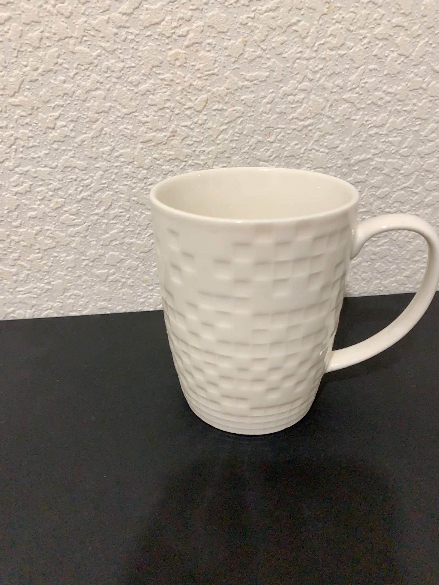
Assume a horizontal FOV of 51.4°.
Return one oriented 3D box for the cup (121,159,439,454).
[{"bbox_3d":[0.029,0.003,0.206,0.119,0.105,0.082,-1,28,0],"label":"cup"}]
